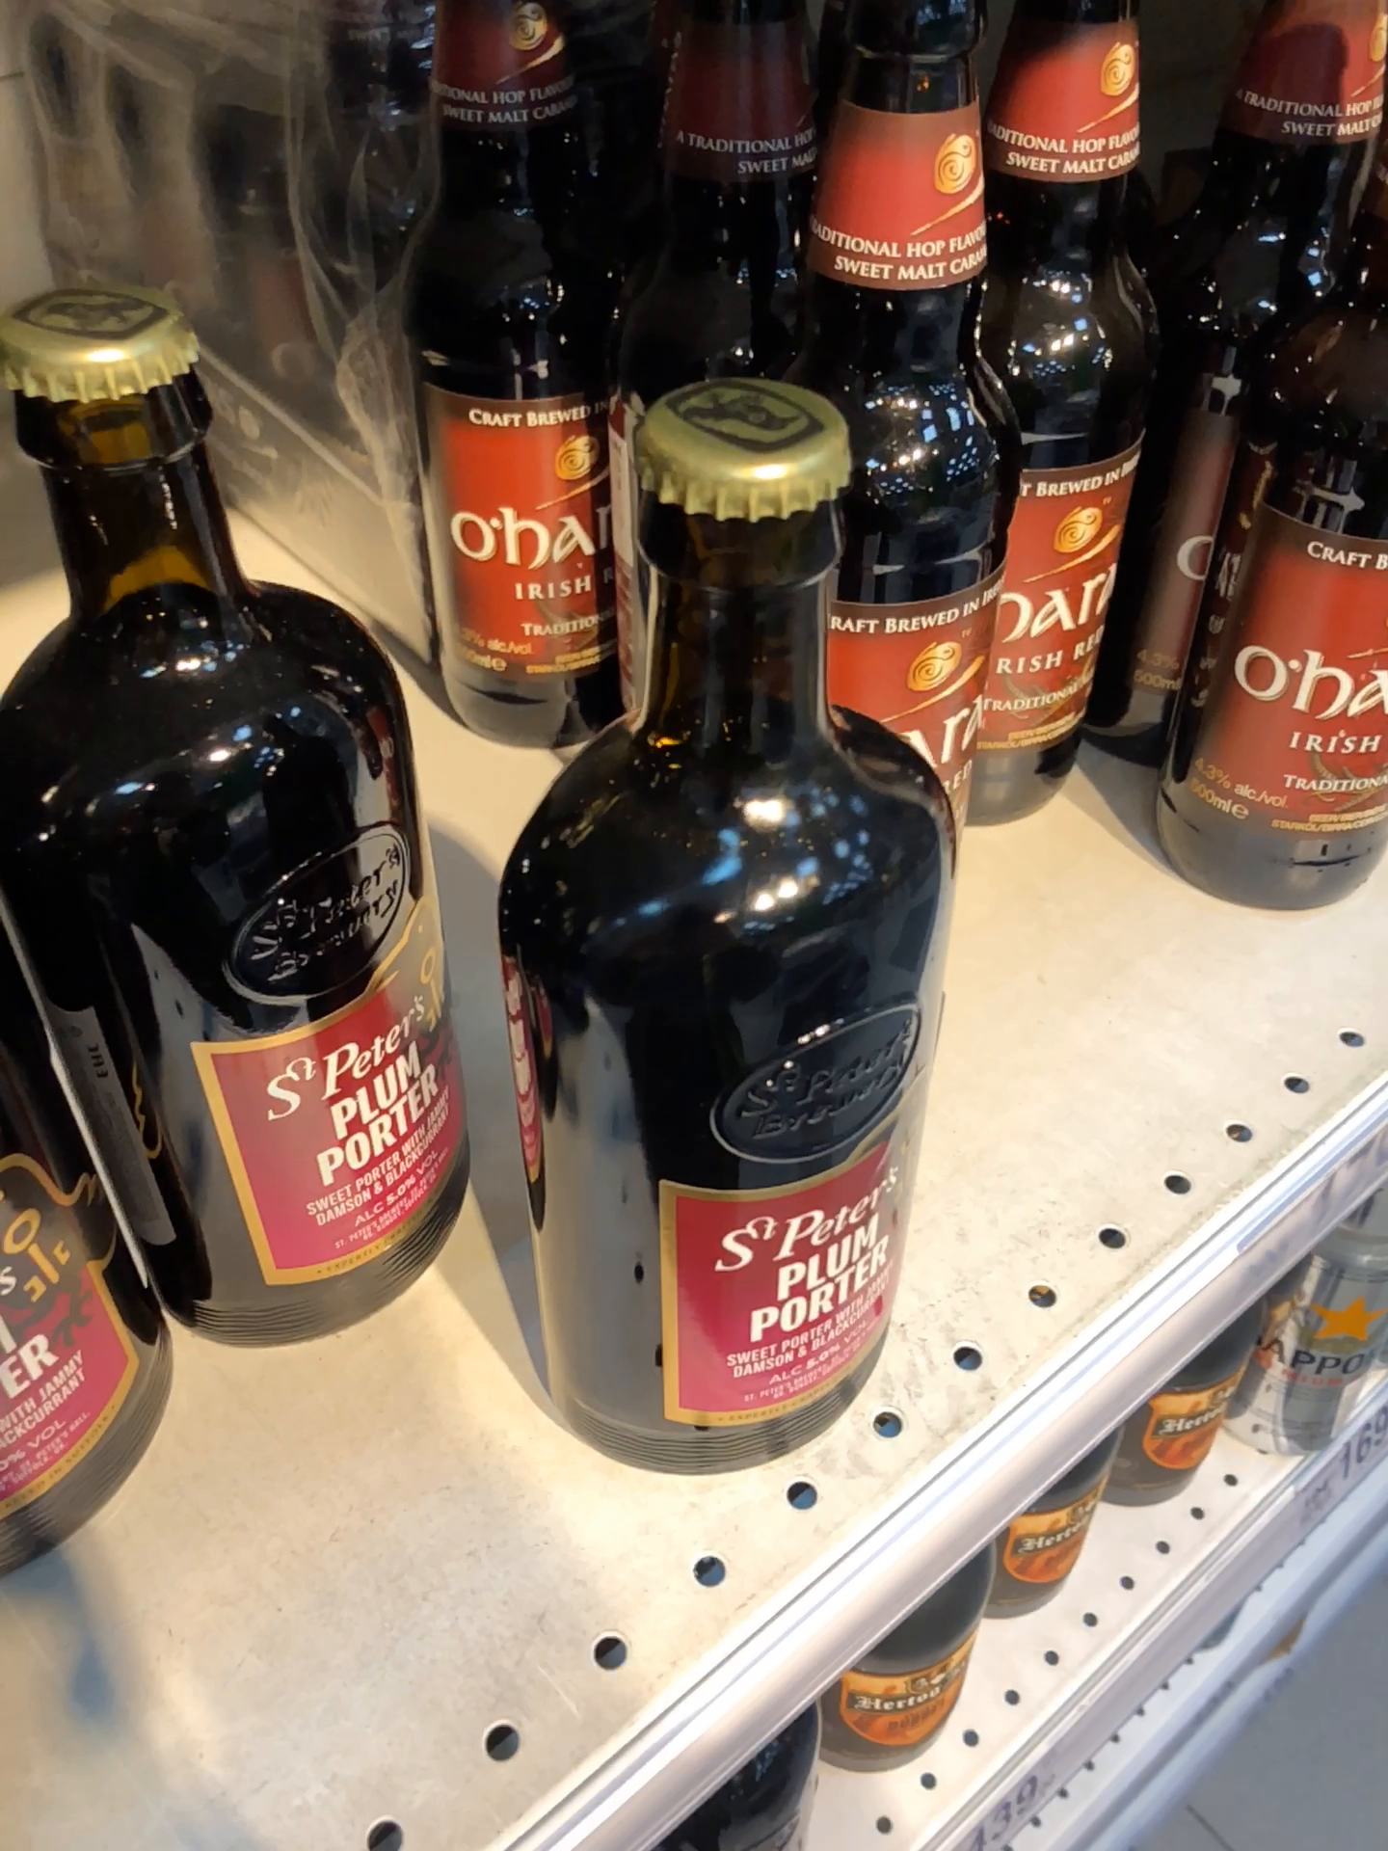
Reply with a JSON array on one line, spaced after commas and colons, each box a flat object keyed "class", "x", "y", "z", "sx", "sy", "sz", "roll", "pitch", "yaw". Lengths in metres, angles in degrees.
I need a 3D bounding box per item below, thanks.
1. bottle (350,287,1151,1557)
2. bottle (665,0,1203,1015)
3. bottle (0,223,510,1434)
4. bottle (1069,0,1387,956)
[{"class": "bottle", "x": 0.007, "y": 0.014, "z": 0.264, "sx": 0.082, "sy": 0.209, "sz": 0.058, "roll": -26, "pitch": 49, "yaw": -25}, {"class": "bottle", "x": 0.042, "y": -0.093, "z": 0.360, "sx": 0.072, "sy": 0.230, "sz": 0.070, "roll": 0, "pitch": 43, "yaw": 0}, {"class": "bottle", "x": -0.096, "y": -0.005, "z": 0.294, "sx": 0.069, "sy": 0.213, "sz": 0.079, "roll": 32, "pitch": 52, "yaw": 29}, {"class": "bottle", "x": 0.163, "y": -0.110, "z": 0.376, "sx": 0.074, "sy": 0.235, "sz": 0.070, "roll": 0, "pitch": 43, "yaw": 0}]
